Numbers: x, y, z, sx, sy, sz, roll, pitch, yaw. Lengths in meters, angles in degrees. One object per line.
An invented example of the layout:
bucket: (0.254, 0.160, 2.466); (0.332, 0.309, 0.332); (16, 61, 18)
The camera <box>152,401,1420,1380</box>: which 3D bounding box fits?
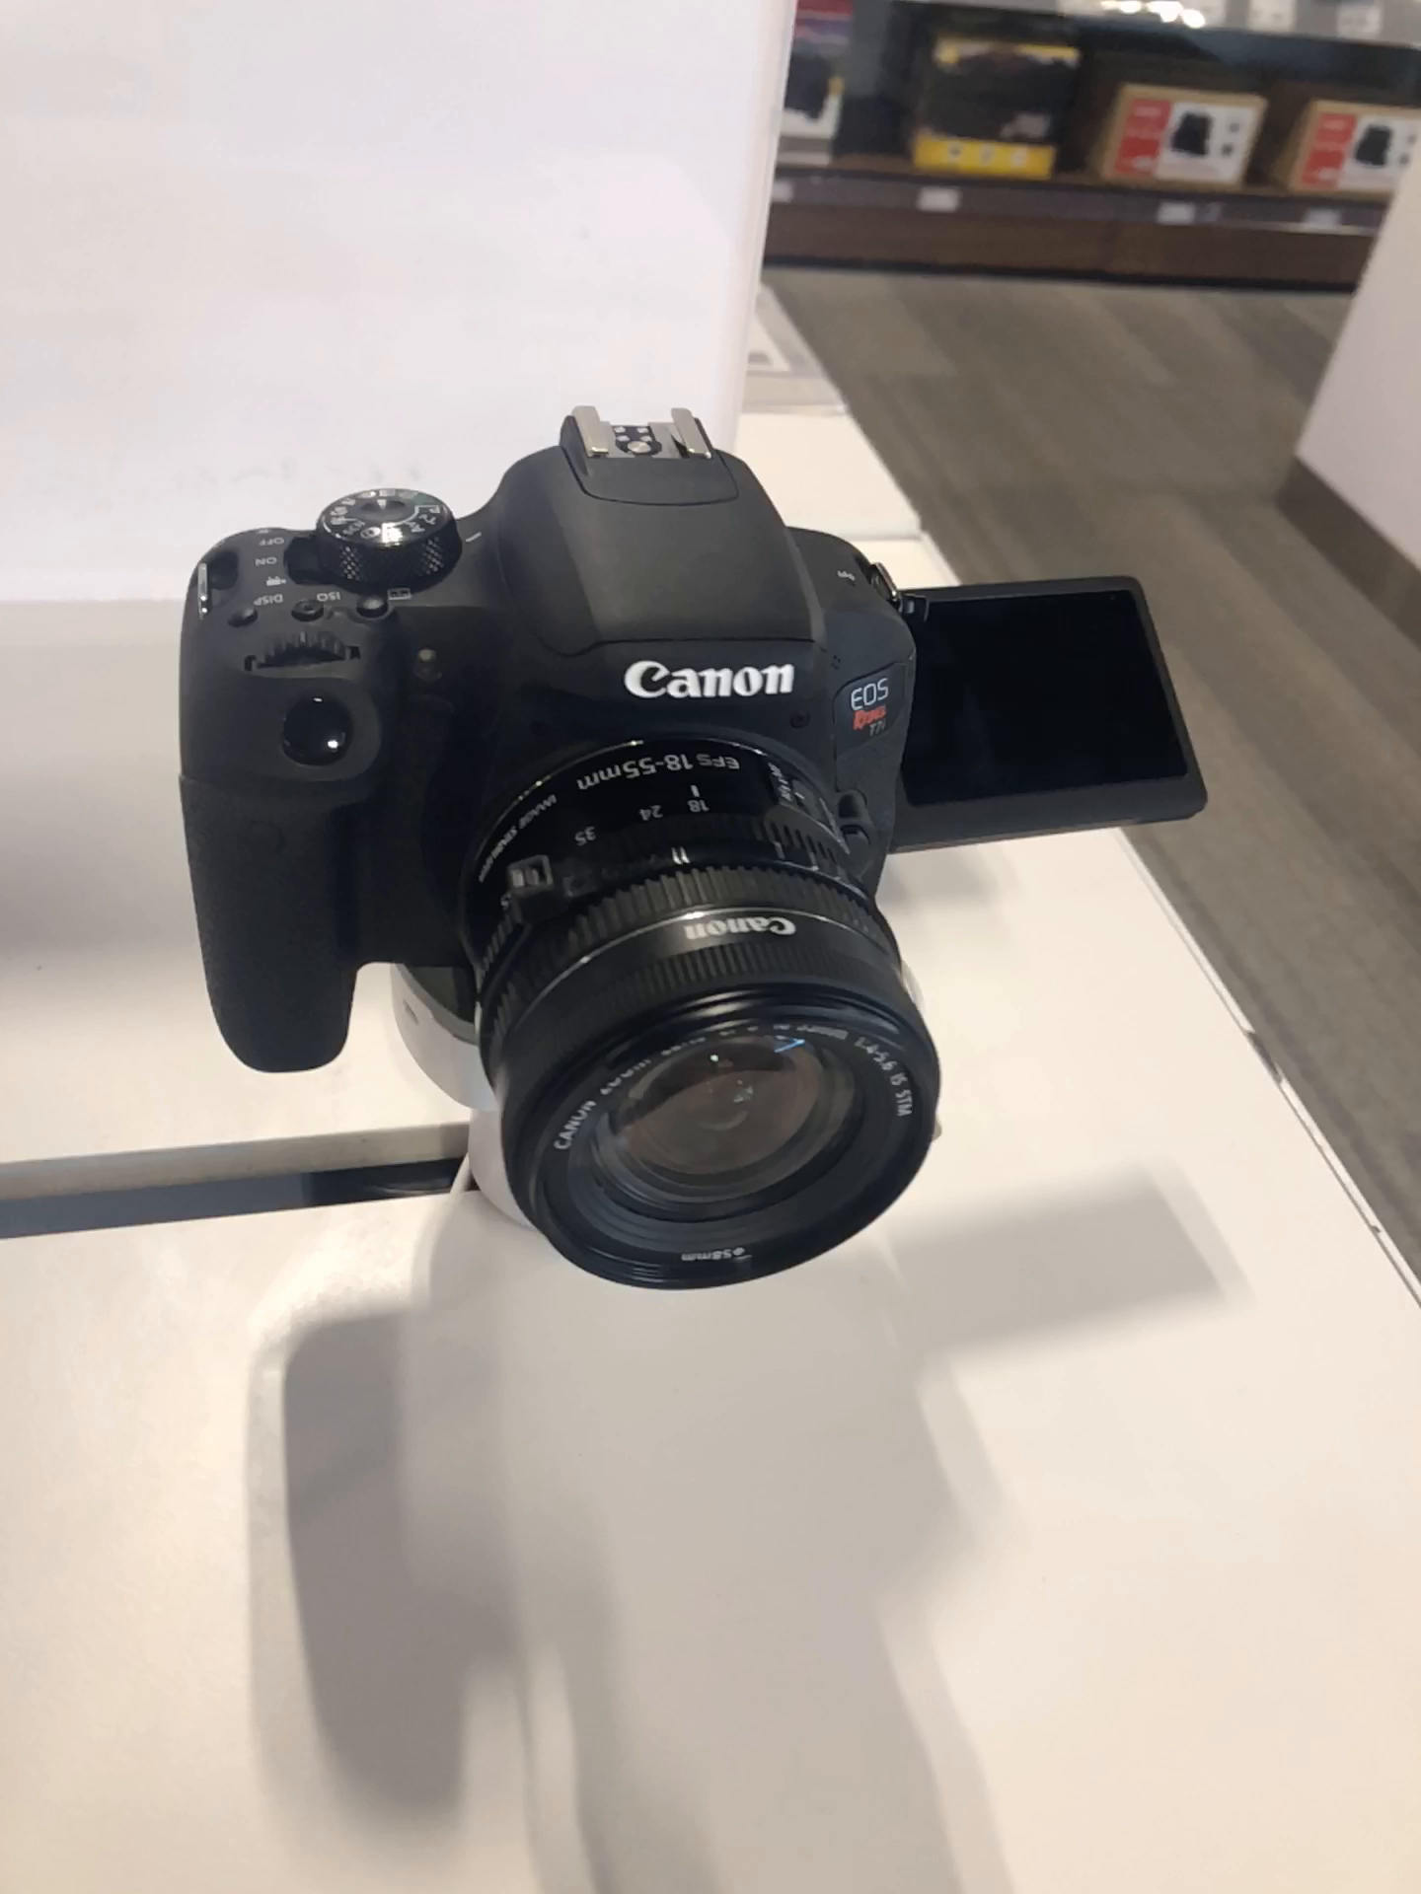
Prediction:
camera: (0.023, -0.019, 0.264); (0.210, 0.099, 0.111); (-5, 43, -15)
